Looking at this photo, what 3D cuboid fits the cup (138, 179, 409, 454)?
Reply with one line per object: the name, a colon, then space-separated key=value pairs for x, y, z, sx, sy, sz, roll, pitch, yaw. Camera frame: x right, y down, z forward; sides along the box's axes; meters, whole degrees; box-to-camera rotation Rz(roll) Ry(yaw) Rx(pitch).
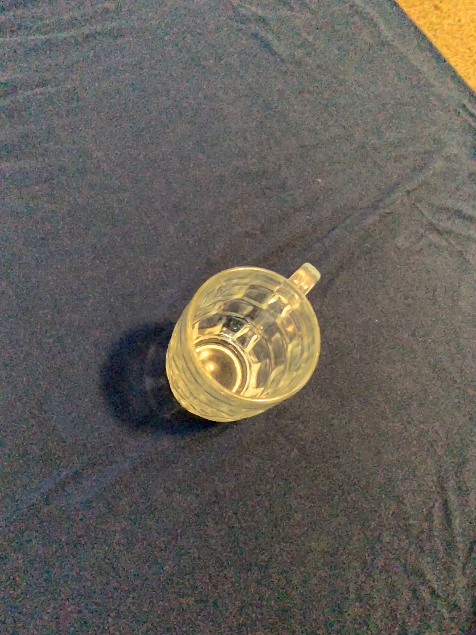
cup: x=0.015 y=0.006 z=0.301 sx=0.080 sy=0.110 sz=0.120 roll=43 pitch=65 yaw=2
